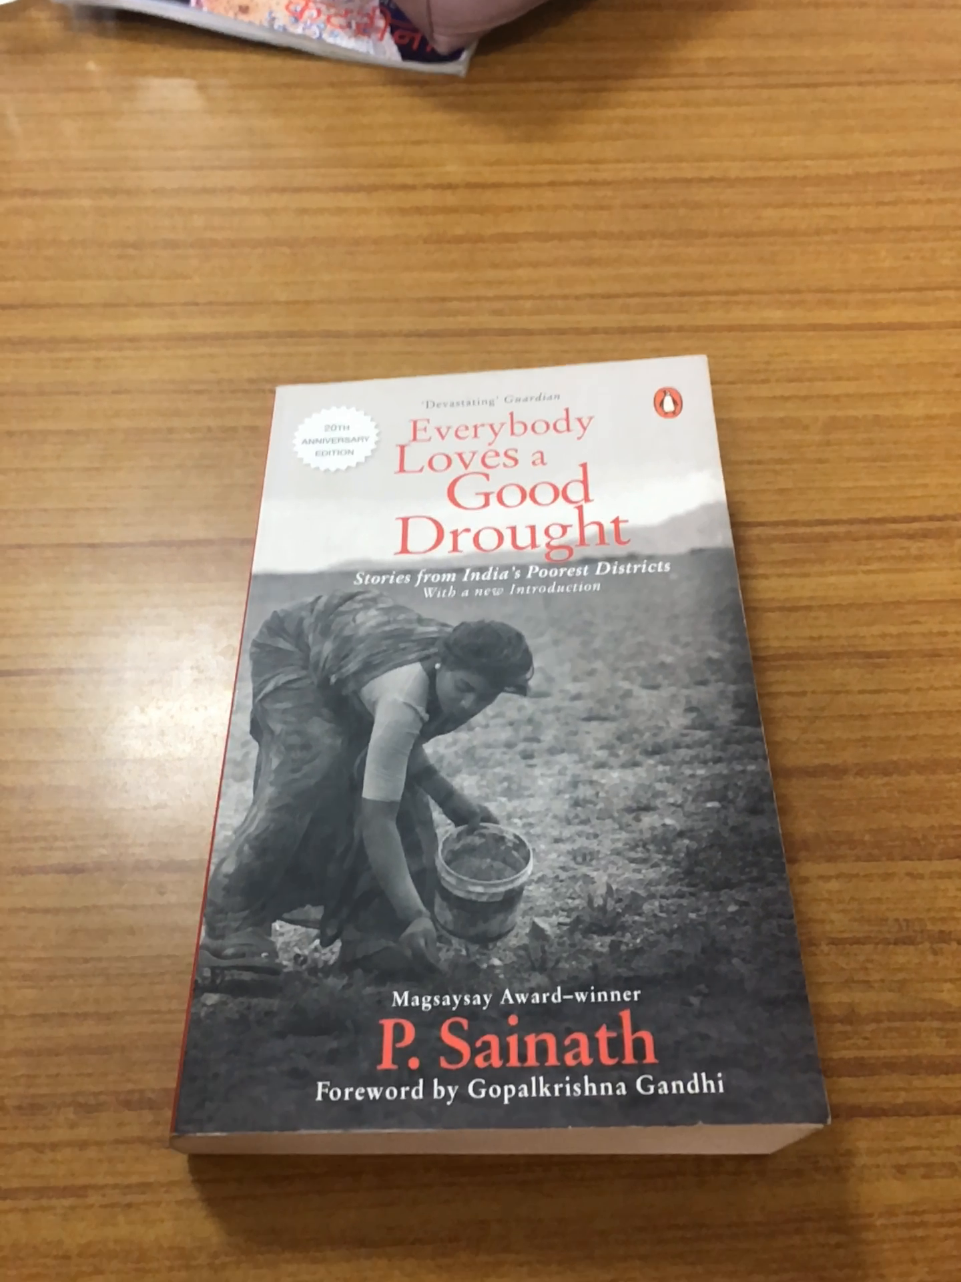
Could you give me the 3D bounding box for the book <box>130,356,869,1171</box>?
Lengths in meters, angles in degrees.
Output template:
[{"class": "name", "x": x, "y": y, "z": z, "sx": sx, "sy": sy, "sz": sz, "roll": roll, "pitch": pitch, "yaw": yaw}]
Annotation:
[{"class": "book", "x": 0.004, "y": 0.017, "z": 0.276, "sx": 0.140, "sy": 0.040, "sz": 0.210, "roll": 0, "pitch": 58, "yaw": 1}]
